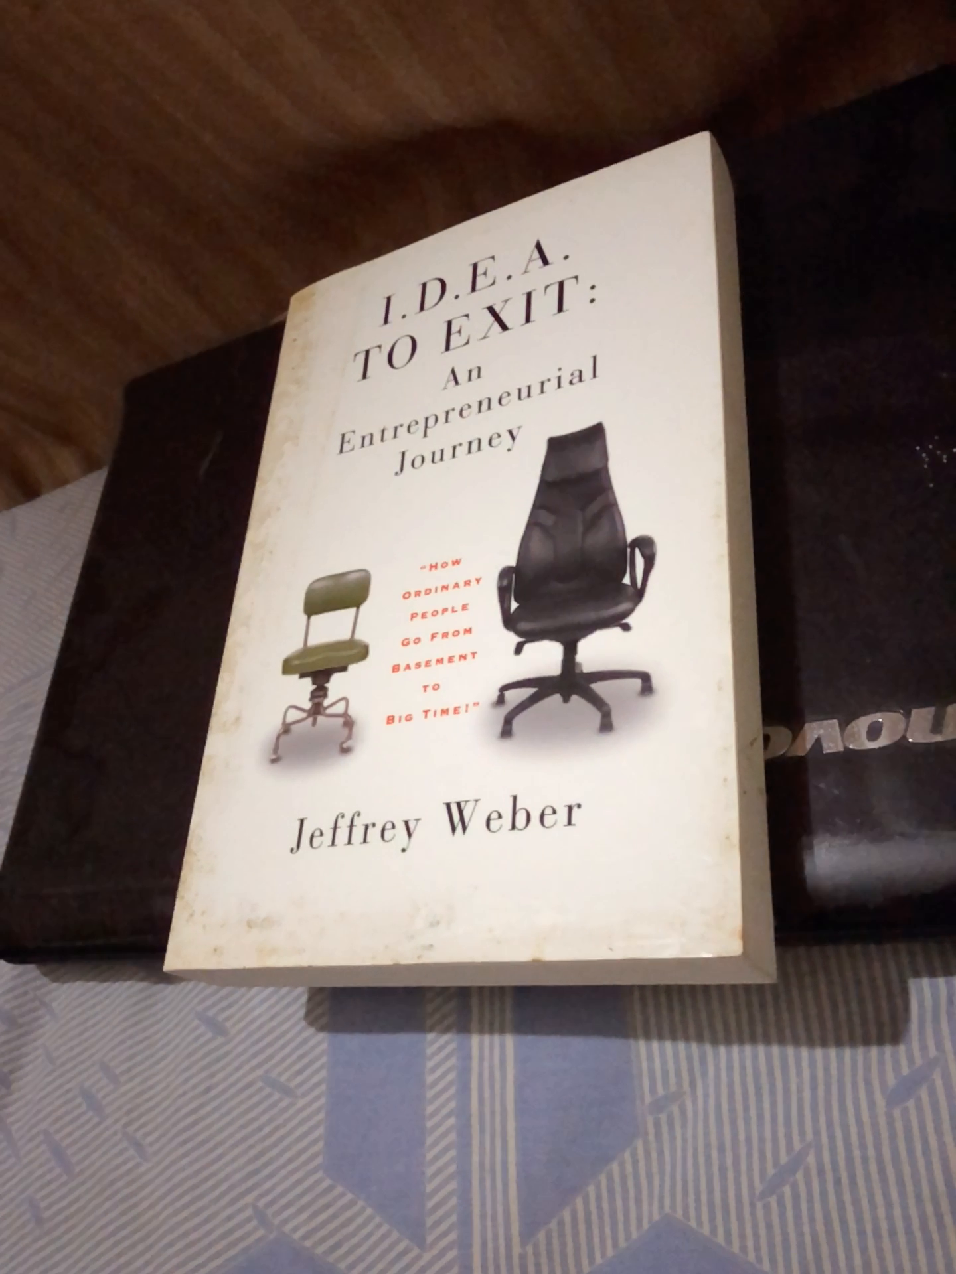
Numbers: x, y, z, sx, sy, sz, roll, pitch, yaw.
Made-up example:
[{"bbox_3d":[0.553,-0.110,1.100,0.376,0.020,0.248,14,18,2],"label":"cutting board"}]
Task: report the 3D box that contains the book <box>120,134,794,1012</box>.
[{"bbox_3d":[-0.004,-0.023,0.303,0.161,0.030,0.240,-12,56,27],"label":"book"}]
